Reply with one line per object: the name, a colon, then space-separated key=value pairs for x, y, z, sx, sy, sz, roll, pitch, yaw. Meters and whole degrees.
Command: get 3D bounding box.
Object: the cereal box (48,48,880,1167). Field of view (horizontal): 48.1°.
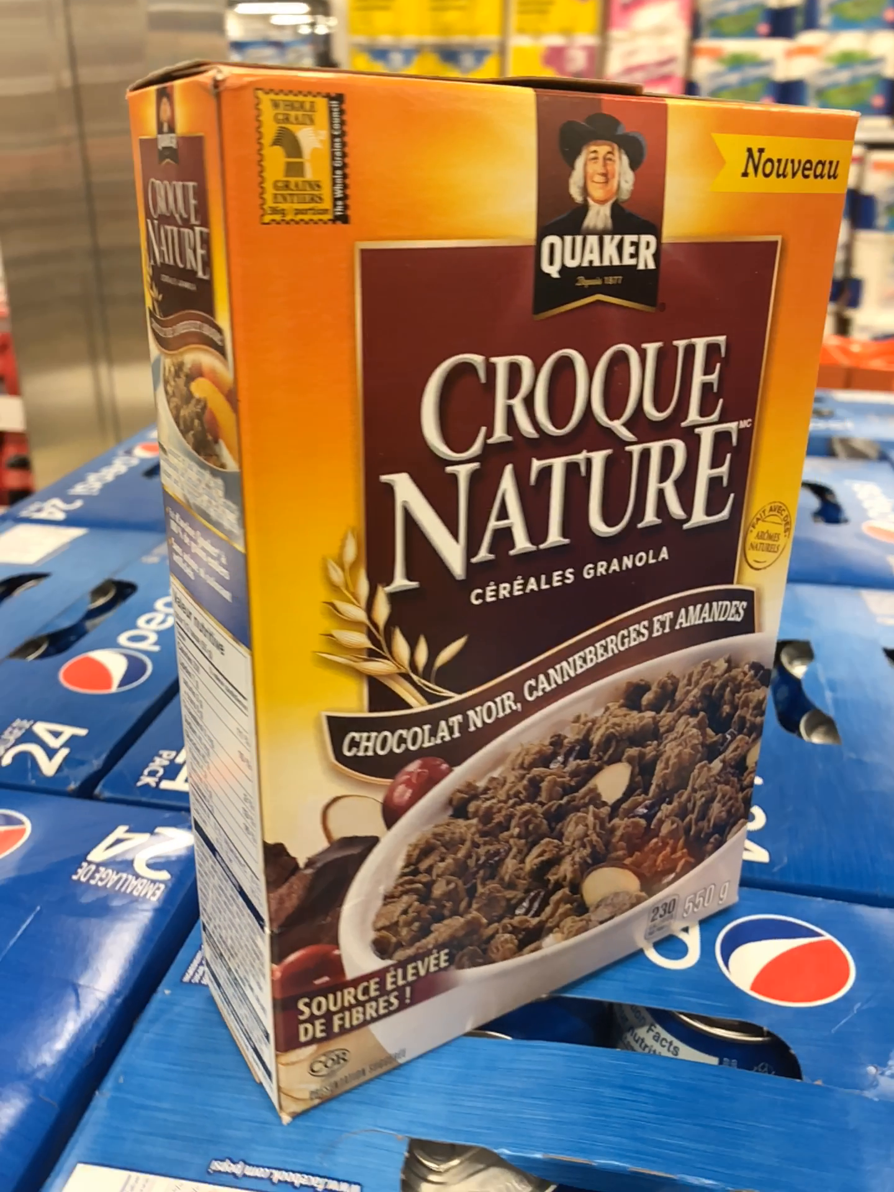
cereal box: x=0.008 y=0.001 z=0.248 sx=0.160 sy=0.229 sz=0.060 roll=-13 pitch=27 yaw=-28
